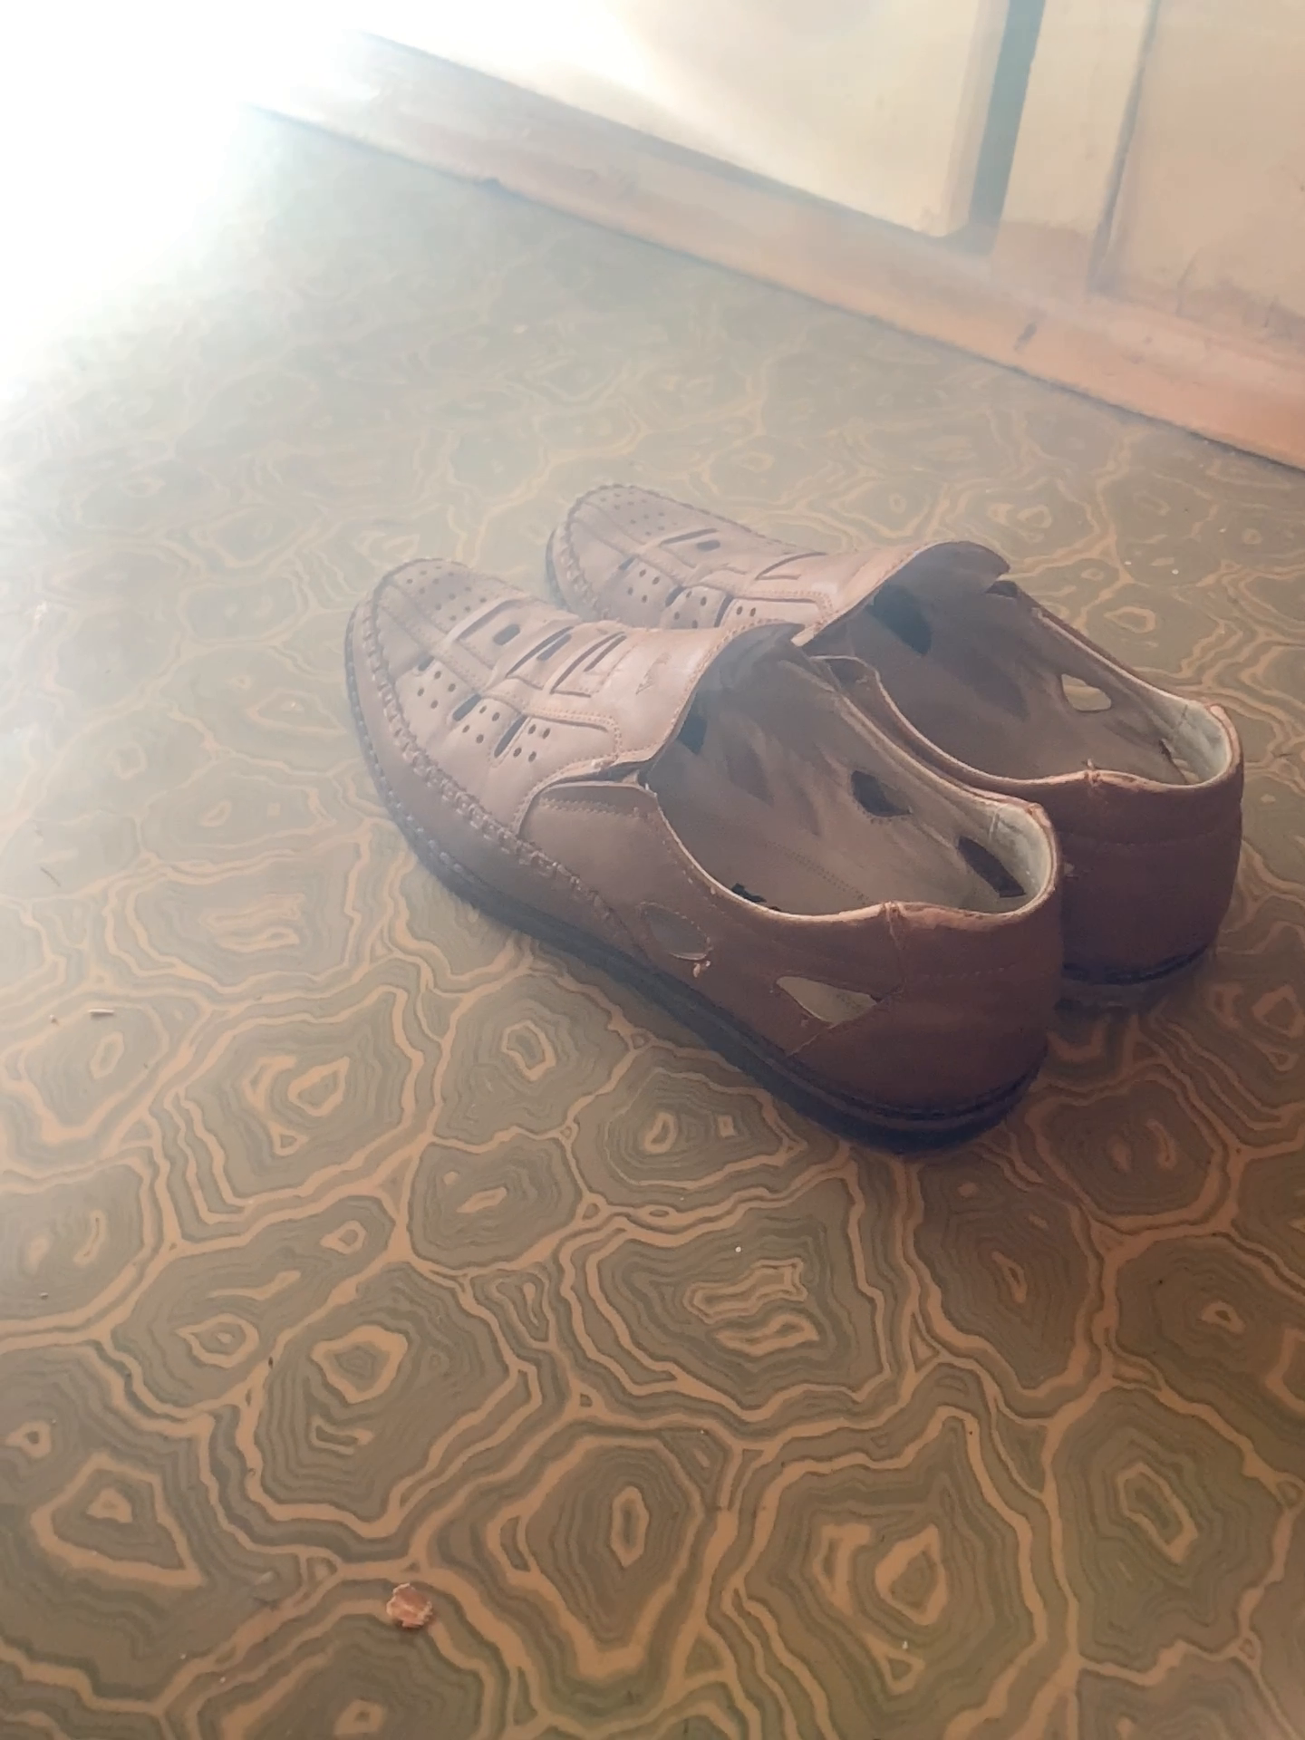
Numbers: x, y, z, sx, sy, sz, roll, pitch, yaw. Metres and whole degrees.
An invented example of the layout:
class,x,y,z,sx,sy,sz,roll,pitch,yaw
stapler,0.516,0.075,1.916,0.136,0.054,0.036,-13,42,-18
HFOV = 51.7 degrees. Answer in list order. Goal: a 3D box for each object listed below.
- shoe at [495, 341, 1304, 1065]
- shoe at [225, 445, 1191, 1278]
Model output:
class,x,y,z,sx,sy,sz,roll,pitch,yaw
shoe,0.078,-0.077,0.457,0.110,0.079,0.291,-29,53,-29
shoe,-0.003,-0.025,0.412,0.100,0.079,0.291,-32,54,-31
